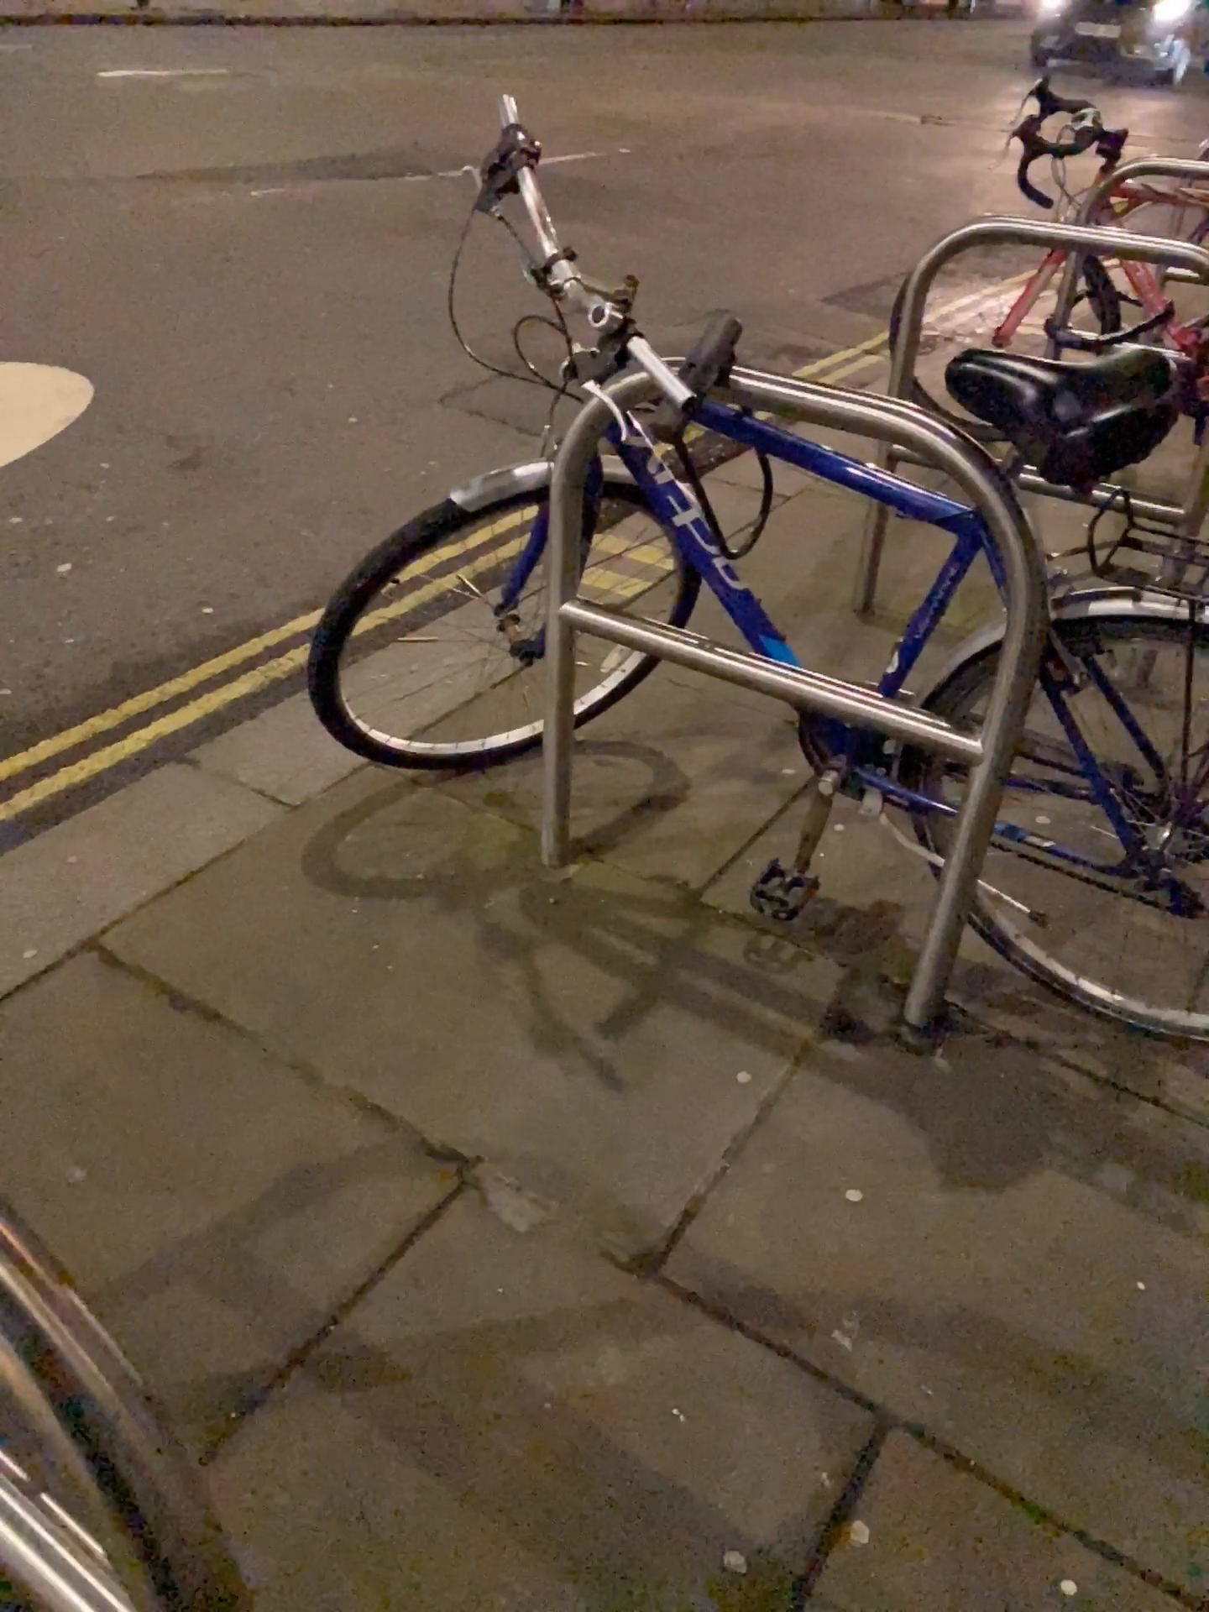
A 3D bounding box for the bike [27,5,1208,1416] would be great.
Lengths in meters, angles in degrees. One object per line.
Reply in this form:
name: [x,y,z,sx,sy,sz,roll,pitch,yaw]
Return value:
bike: [0.310,-0.204,1.494,1.595,1.108,0.659,19,38,18]
